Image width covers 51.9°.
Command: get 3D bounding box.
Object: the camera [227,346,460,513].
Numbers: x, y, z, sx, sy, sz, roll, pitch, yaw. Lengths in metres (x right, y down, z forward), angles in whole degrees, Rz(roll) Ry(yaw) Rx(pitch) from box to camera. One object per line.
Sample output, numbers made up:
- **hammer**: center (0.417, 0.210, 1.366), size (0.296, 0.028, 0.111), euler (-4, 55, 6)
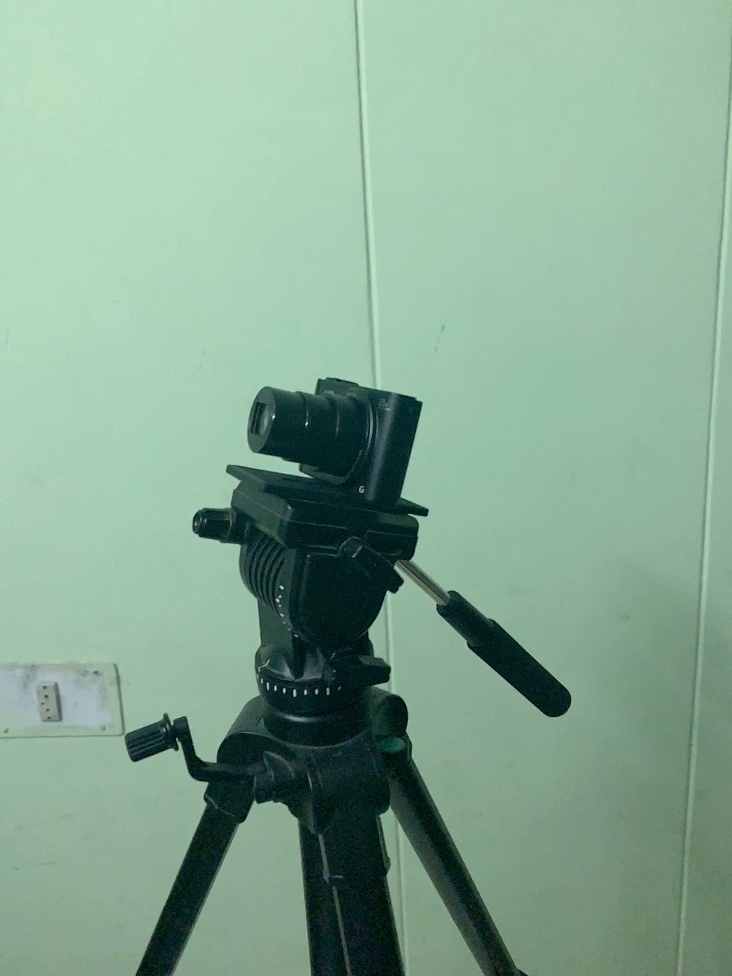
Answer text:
- **camera**: center (-0.016, -0.032, 0.379), size (0.067, 0.060, 0.102), euler (9, 6, -30)
